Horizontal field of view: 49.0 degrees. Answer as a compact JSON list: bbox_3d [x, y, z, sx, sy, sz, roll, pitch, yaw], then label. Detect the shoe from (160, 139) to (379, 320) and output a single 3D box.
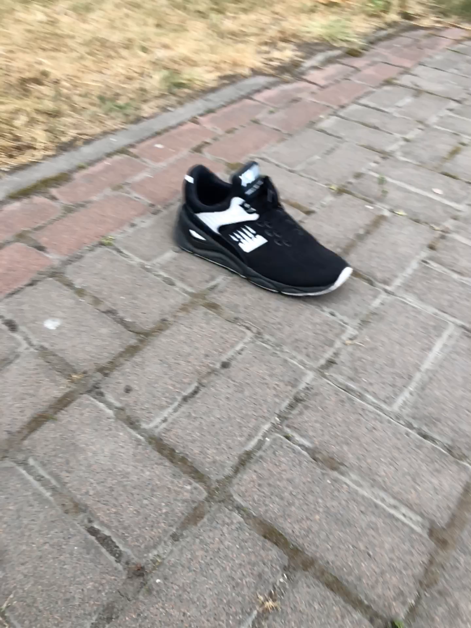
[{"bbox_3d":[0.037,-0.126,0.726,0.281,0.129,0.100,28,48,23],"label":"shoe"}]
